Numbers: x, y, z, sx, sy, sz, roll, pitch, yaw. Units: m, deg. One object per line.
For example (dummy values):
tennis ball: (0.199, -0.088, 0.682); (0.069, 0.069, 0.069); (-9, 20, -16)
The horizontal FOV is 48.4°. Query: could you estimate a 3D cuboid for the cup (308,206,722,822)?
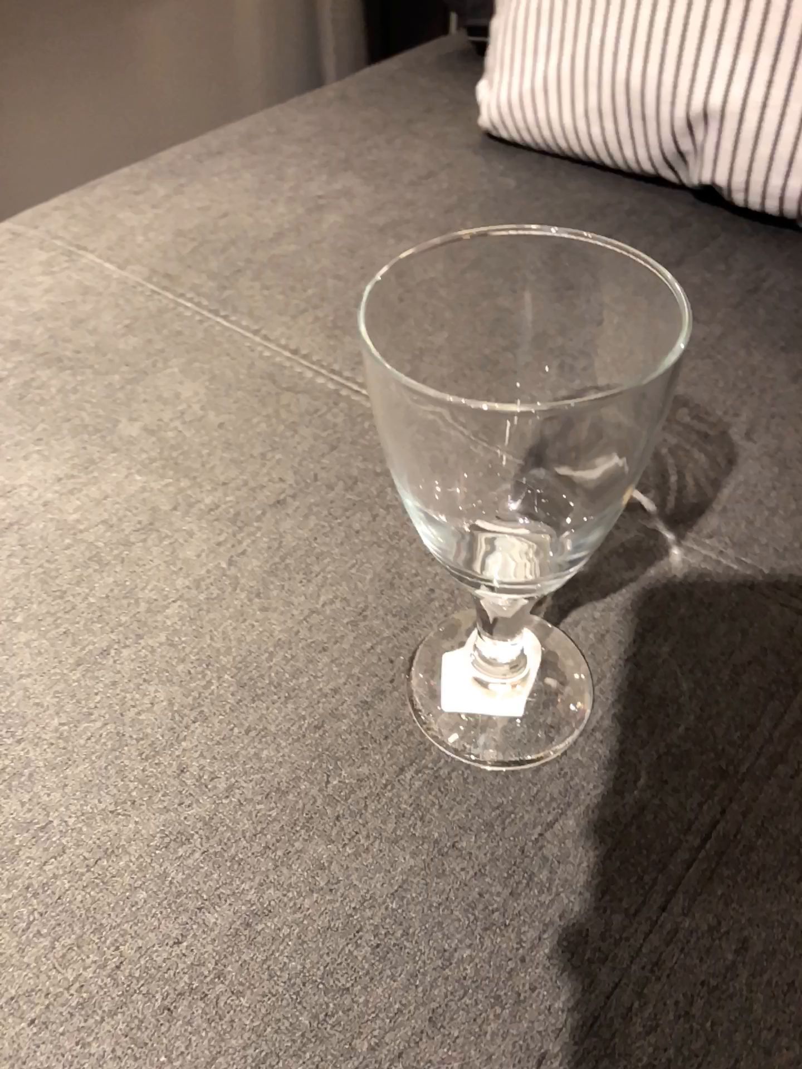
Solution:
cup: (0.035, 0.001, 0.284); (0.090, 0.169, 0.090); (-1, 45, 1)
